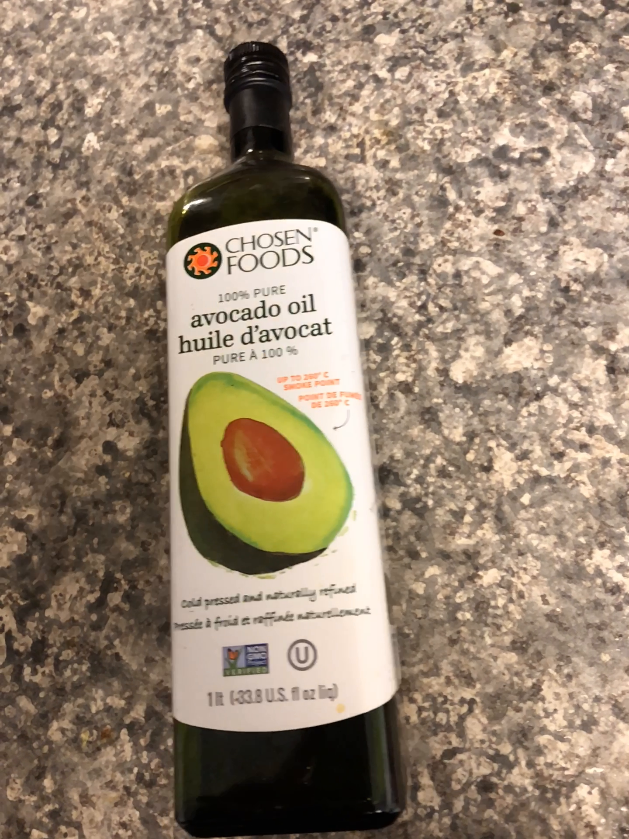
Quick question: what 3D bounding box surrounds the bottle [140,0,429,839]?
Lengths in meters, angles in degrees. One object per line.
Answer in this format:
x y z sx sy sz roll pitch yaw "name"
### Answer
-0.015 -0.022 0.276 0.080 0.070 0.321 -7 74 8 "bottle"
